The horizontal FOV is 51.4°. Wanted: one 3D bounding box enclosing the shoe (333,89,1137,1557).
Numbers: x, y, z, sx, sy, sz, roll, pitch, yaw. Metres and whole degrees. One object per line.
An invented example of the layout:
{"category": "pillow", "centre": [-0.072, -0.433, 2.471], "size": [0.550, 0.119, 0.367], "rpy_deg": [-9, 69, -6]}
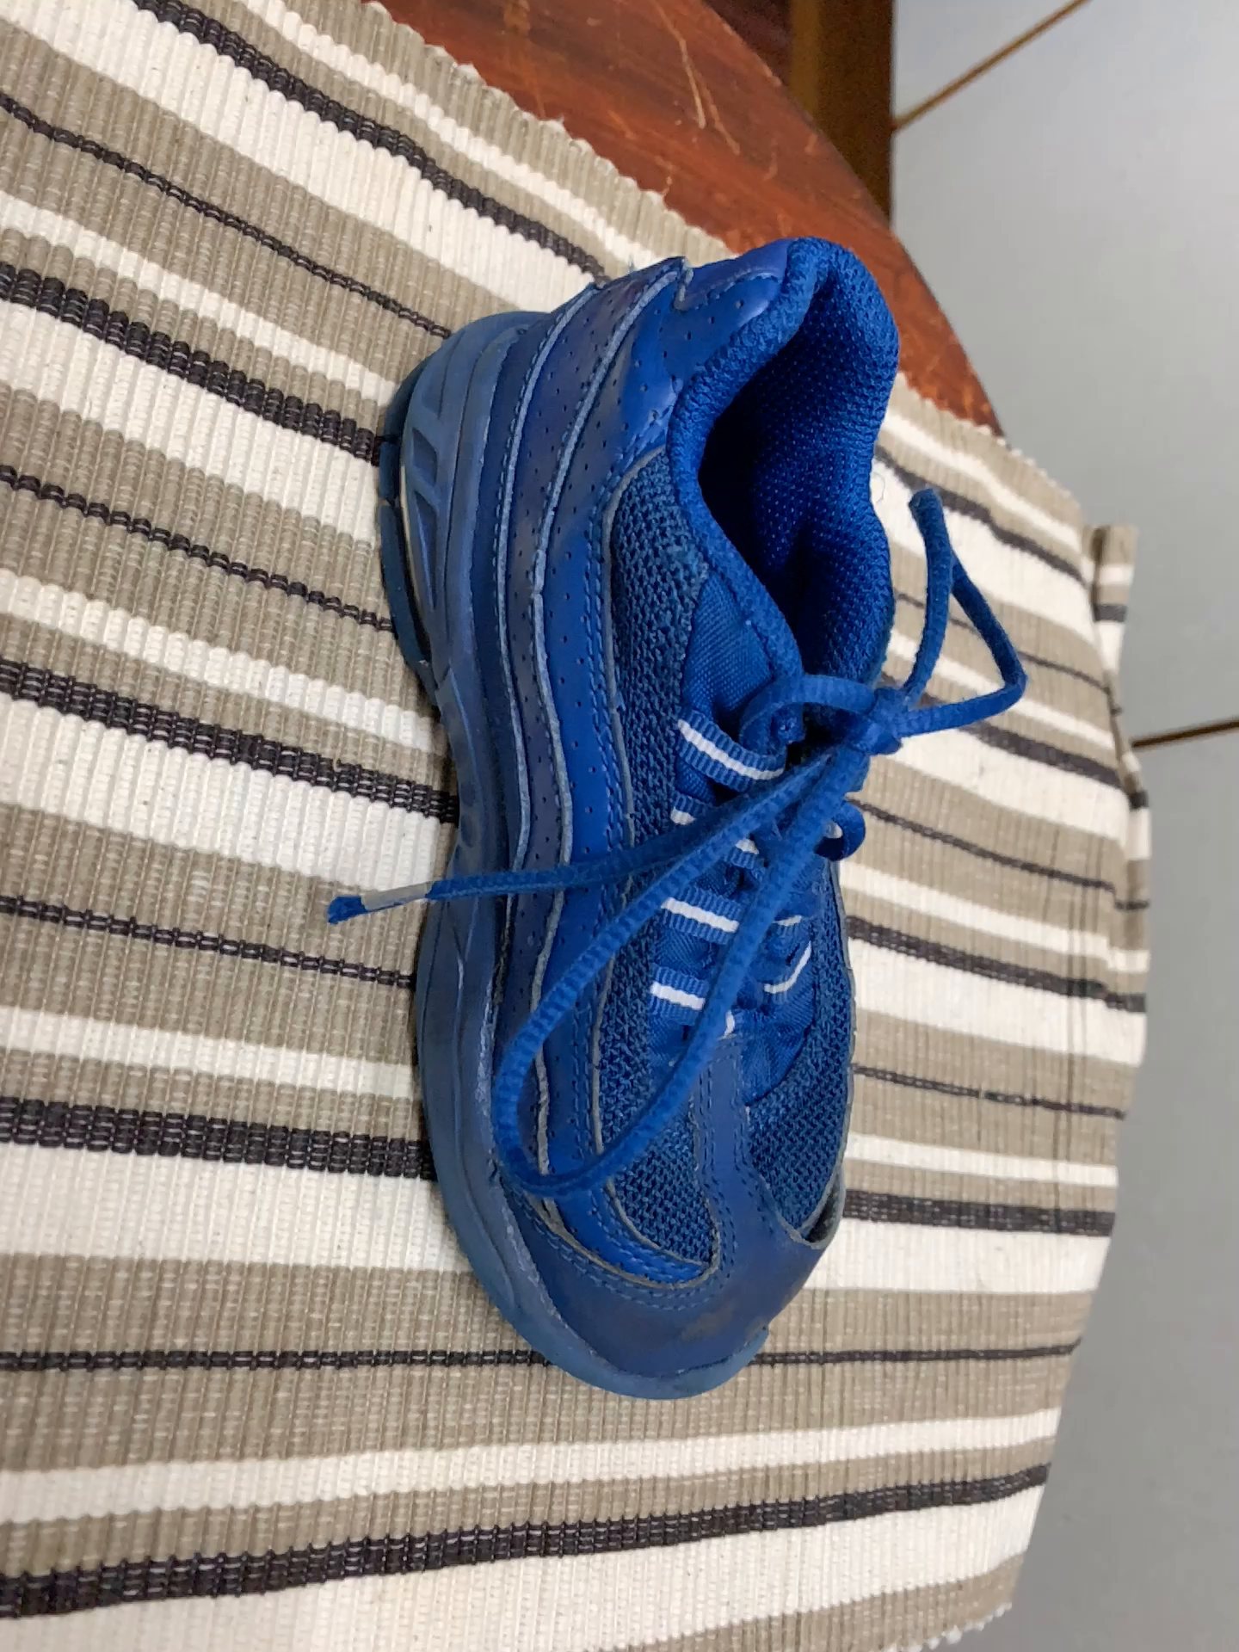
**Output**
{"category": "shoe", "centre": [0.014, -0.001, 0.206], "size": [0.074, 0.079, 0.175], "rpy_deg": [-3, 84, -40]}
